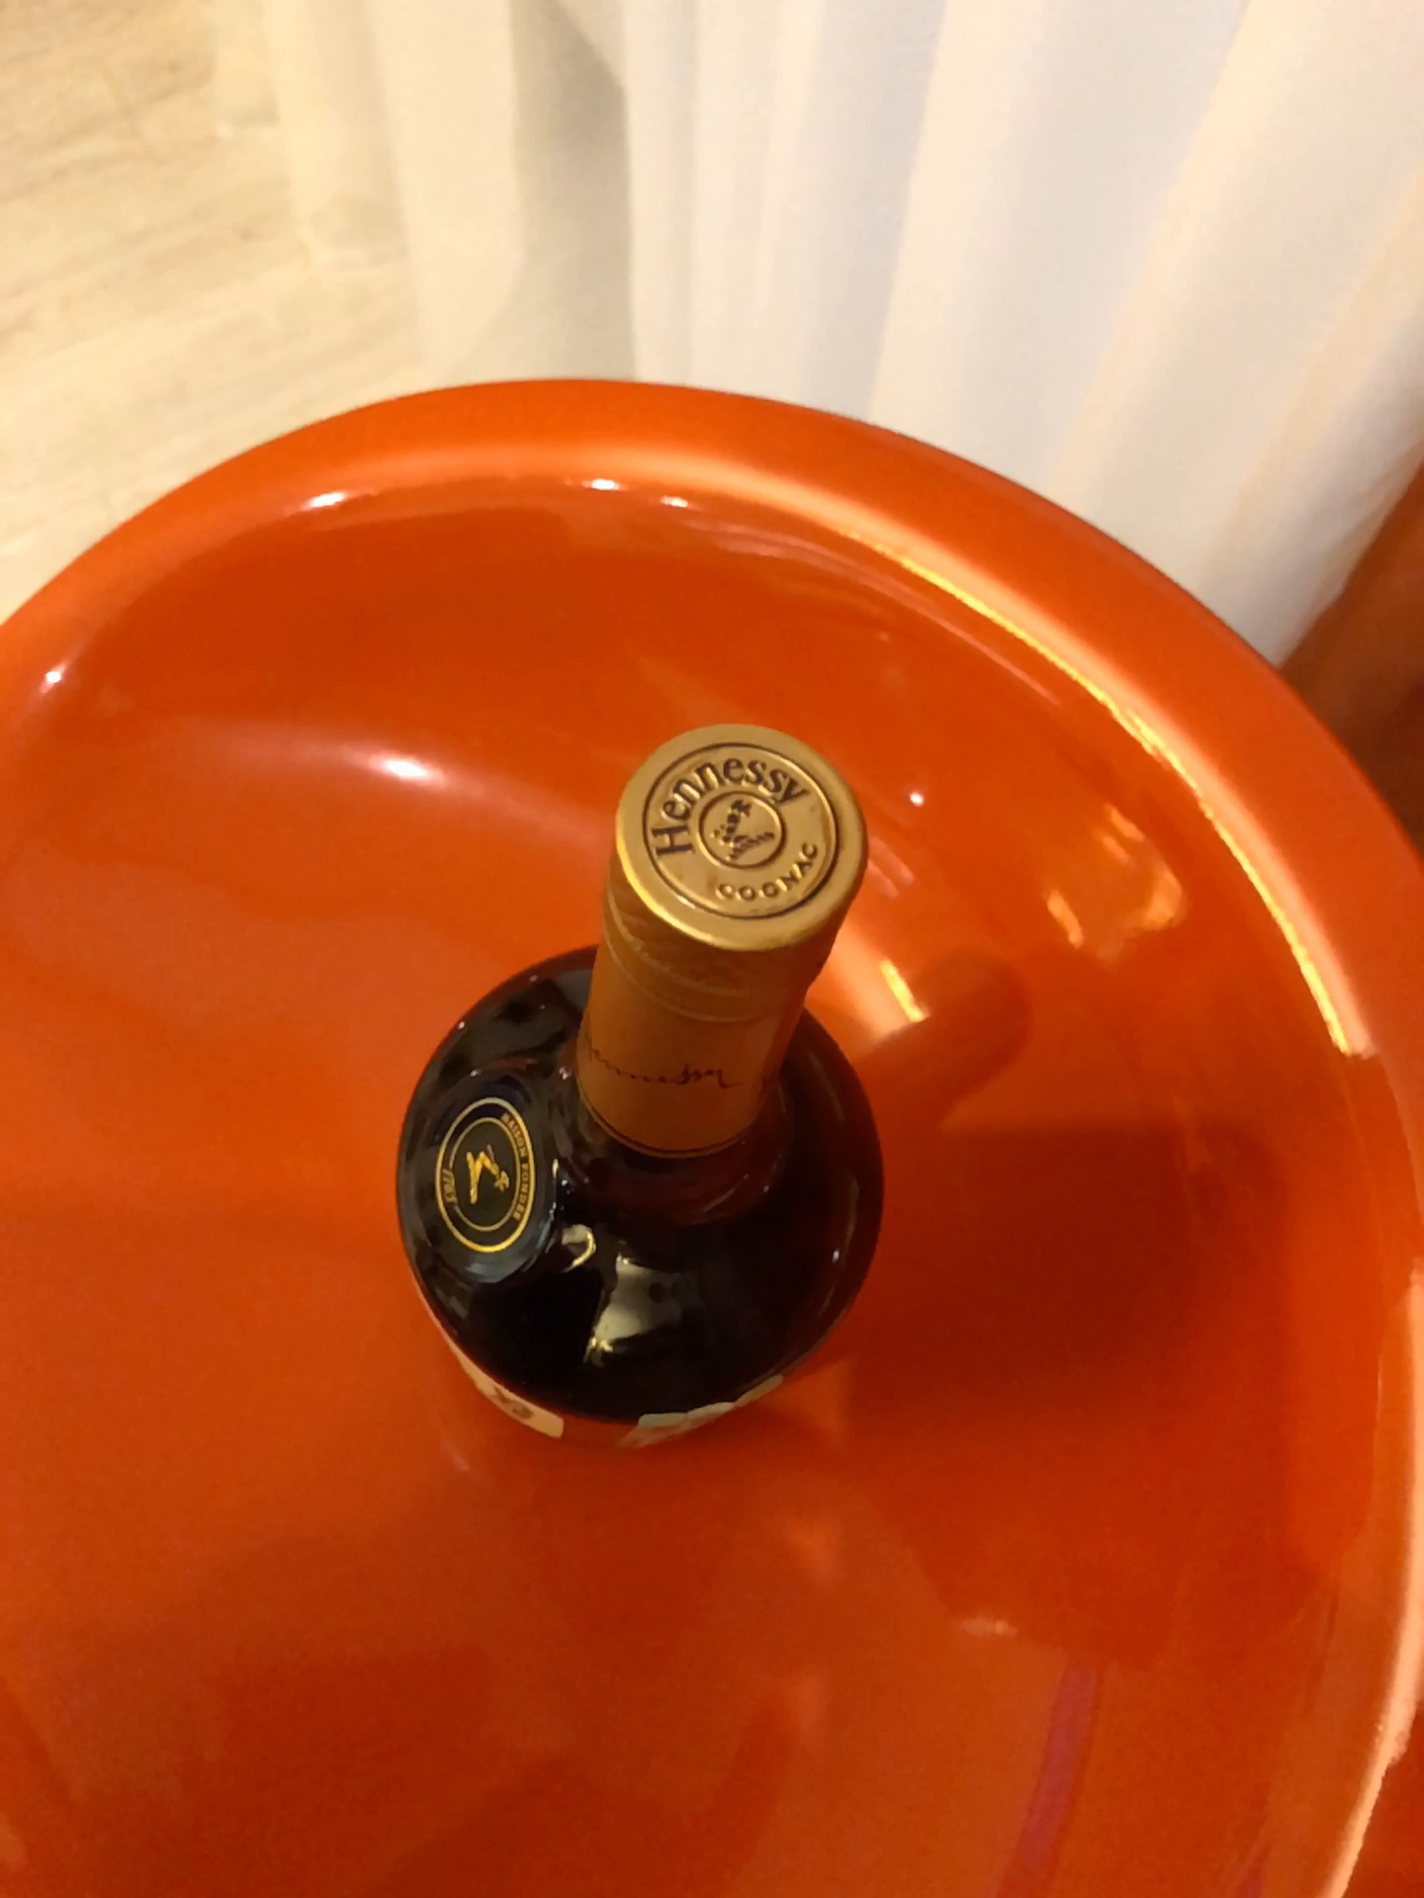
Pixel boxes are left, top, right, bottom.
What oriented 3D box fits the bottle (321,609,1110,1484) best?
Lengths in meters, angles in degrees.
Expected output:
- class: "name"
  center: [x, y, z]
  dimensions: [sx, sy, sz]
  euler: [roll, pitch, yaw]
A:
- class: "bottle"
  center: [-0.012, 0.039, 0.273]
  dimensions: [0.079, 0.219, 0.079]
  euler: [2, 67, -5]
